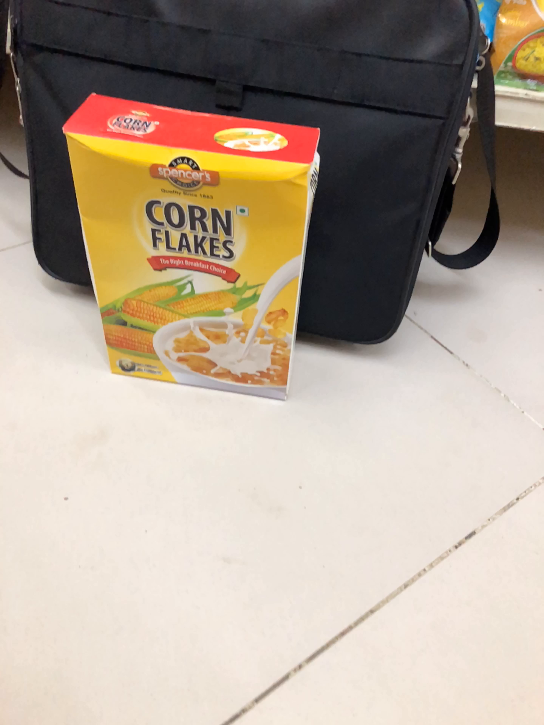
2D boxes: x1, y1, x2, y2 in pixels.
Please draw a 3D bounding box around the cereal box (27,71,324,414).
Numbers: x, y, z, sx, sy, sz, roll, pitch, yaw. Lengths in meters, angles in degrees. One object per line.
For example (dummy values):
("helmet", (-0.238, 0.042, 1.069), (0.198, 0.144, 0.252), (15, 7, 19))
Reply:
("cereal box", (-0.069, -0.084, 0.509), (0.190, 0.268, 0.070), (9, 46, 5))
